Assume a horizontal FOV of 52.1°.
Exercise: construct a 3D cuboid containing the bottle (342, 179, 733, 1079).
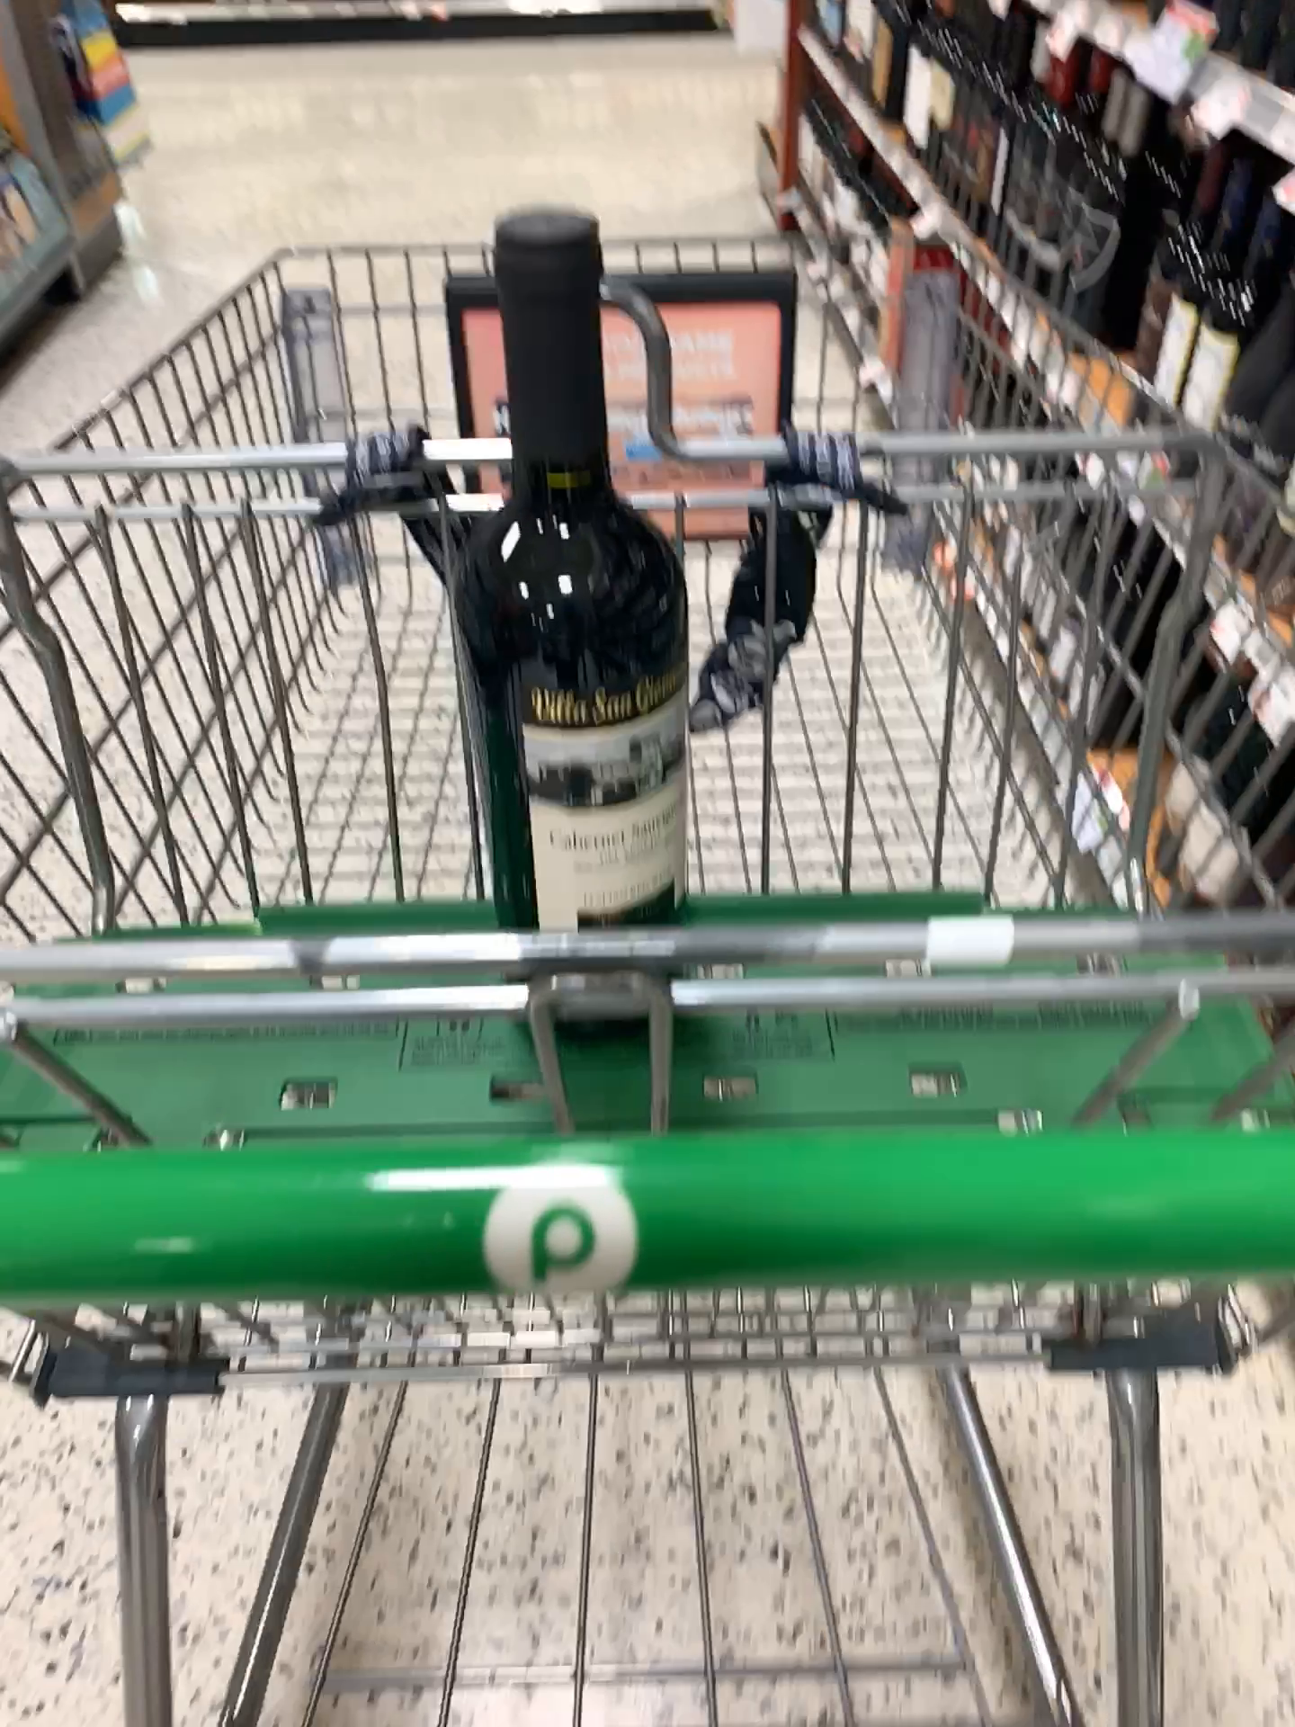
[{"bbox_3d":[-0.028,-0.061,0.438,0.080,0.277,0.075,-1,40,1],"label":"bottle"}]
